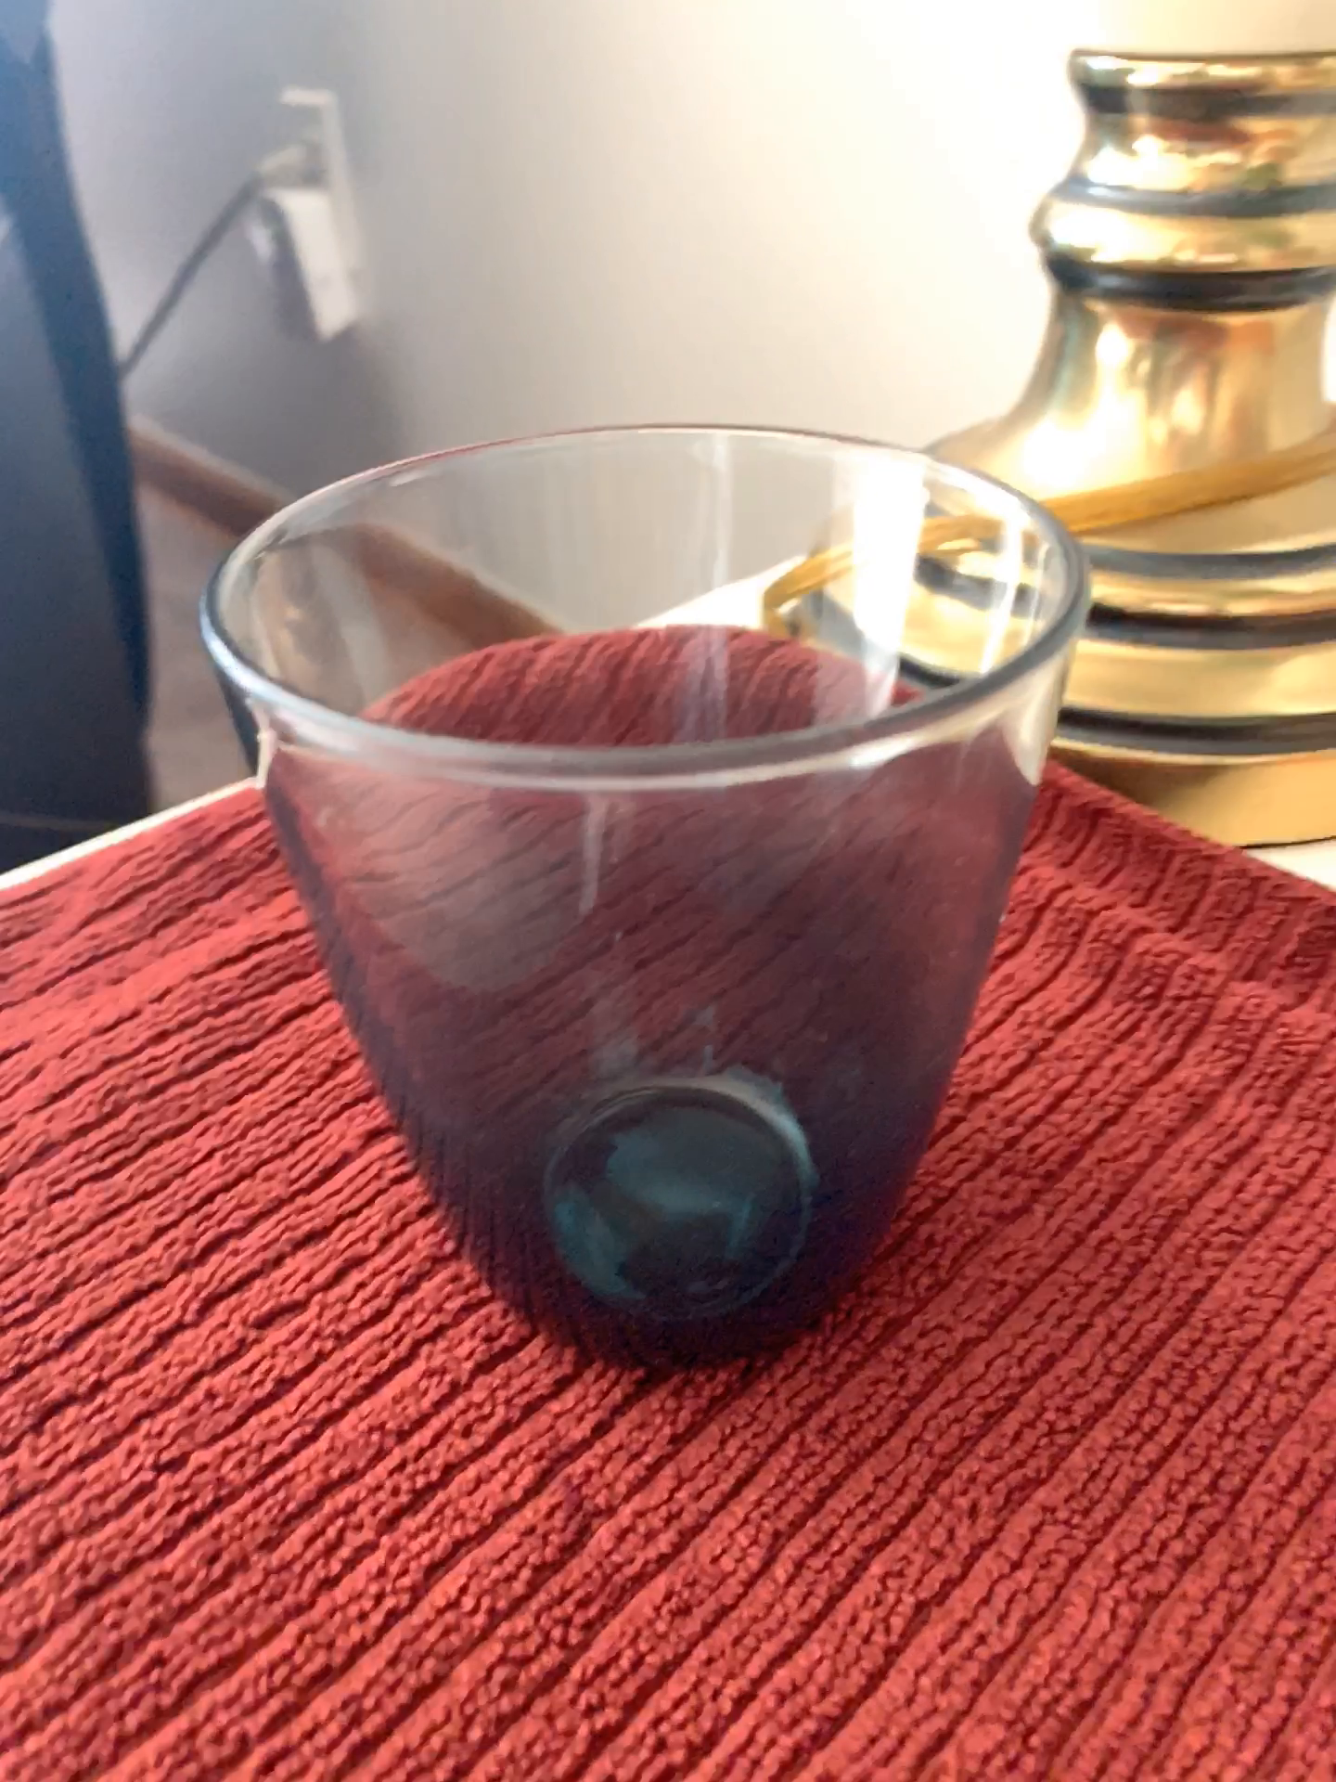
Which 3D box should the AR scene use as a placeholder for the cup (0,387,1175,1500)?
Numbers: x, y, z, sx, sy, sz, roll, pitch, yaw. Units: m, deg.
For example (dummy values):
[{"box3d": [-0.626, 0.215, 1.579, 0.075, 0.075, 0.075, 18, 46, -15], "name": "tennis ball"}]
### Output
[{"box3d": [-0.001, -0.005, 0.154, 0.086, 0.070, 0.084, -1, 34, 0], "name": "cup"}]
